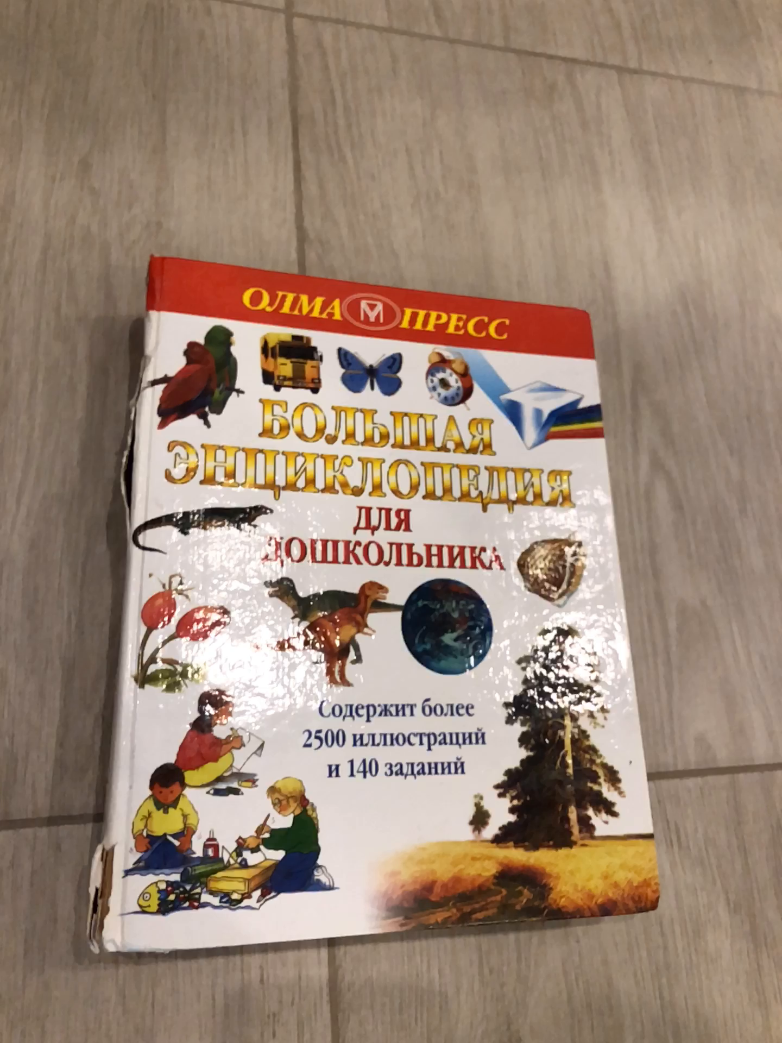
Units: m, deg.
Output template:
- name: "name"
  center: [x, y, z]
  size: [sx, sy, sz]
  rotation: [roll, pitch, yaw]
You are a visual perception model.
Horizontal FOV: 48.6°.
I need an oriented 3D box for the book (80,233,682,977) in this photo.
- name: "book"
  center: [-0.005, 0.027, 0.374]
  size: [0.216, 0.060, 0.281]
  rotation: [4, 70, -15]
